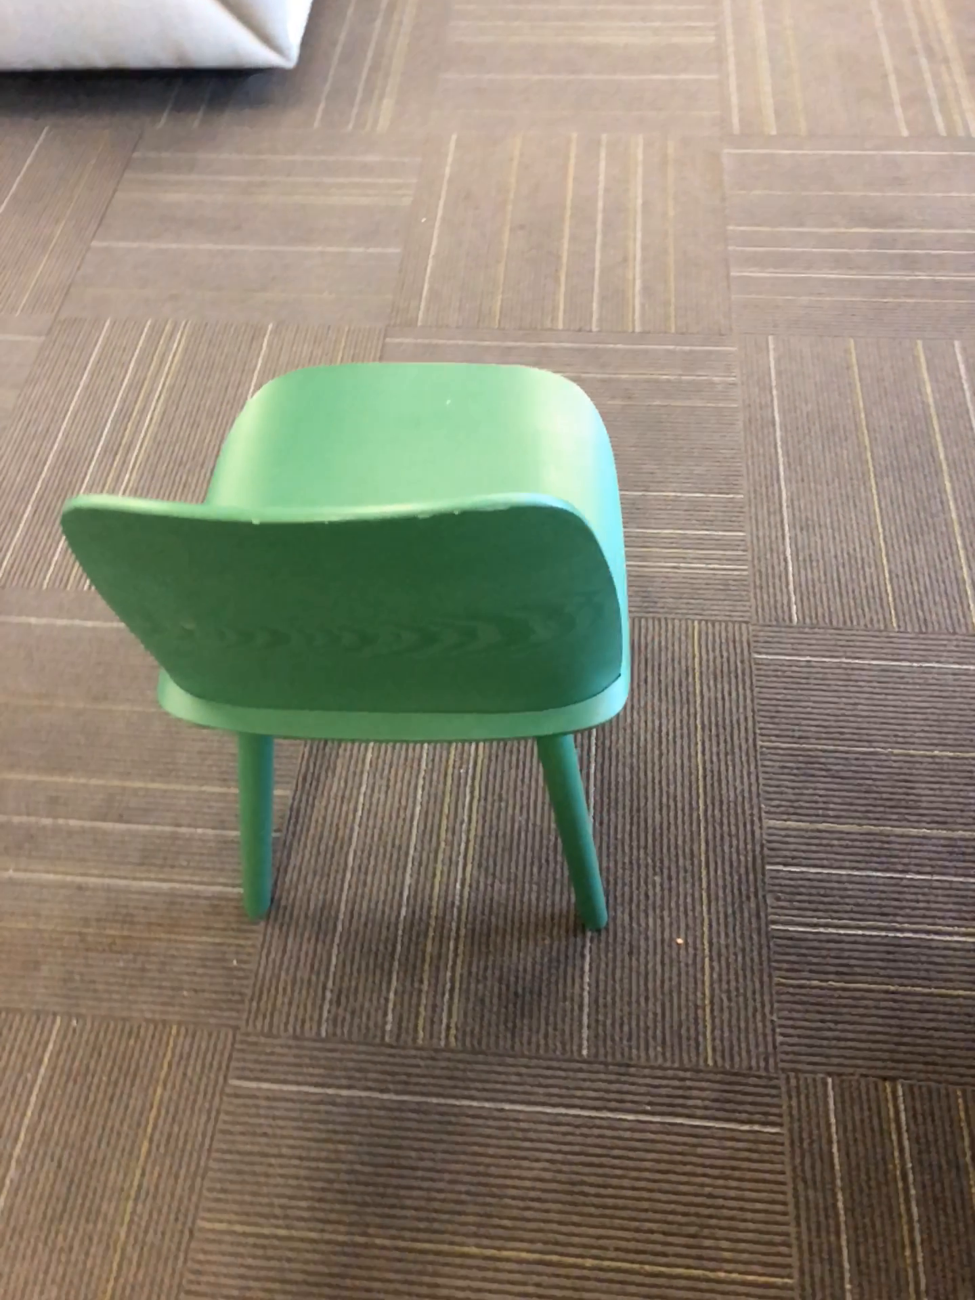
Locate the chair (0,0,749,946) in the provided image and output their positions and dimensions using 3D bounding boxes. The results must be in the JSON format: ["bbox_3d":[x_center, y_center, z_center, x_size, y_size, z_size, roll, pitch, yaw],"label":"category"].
[{"bbox_3d":[-0.081,-0.102,1.047,0.500,0.778,0.501,1,55,4],"label":"chair"}]
